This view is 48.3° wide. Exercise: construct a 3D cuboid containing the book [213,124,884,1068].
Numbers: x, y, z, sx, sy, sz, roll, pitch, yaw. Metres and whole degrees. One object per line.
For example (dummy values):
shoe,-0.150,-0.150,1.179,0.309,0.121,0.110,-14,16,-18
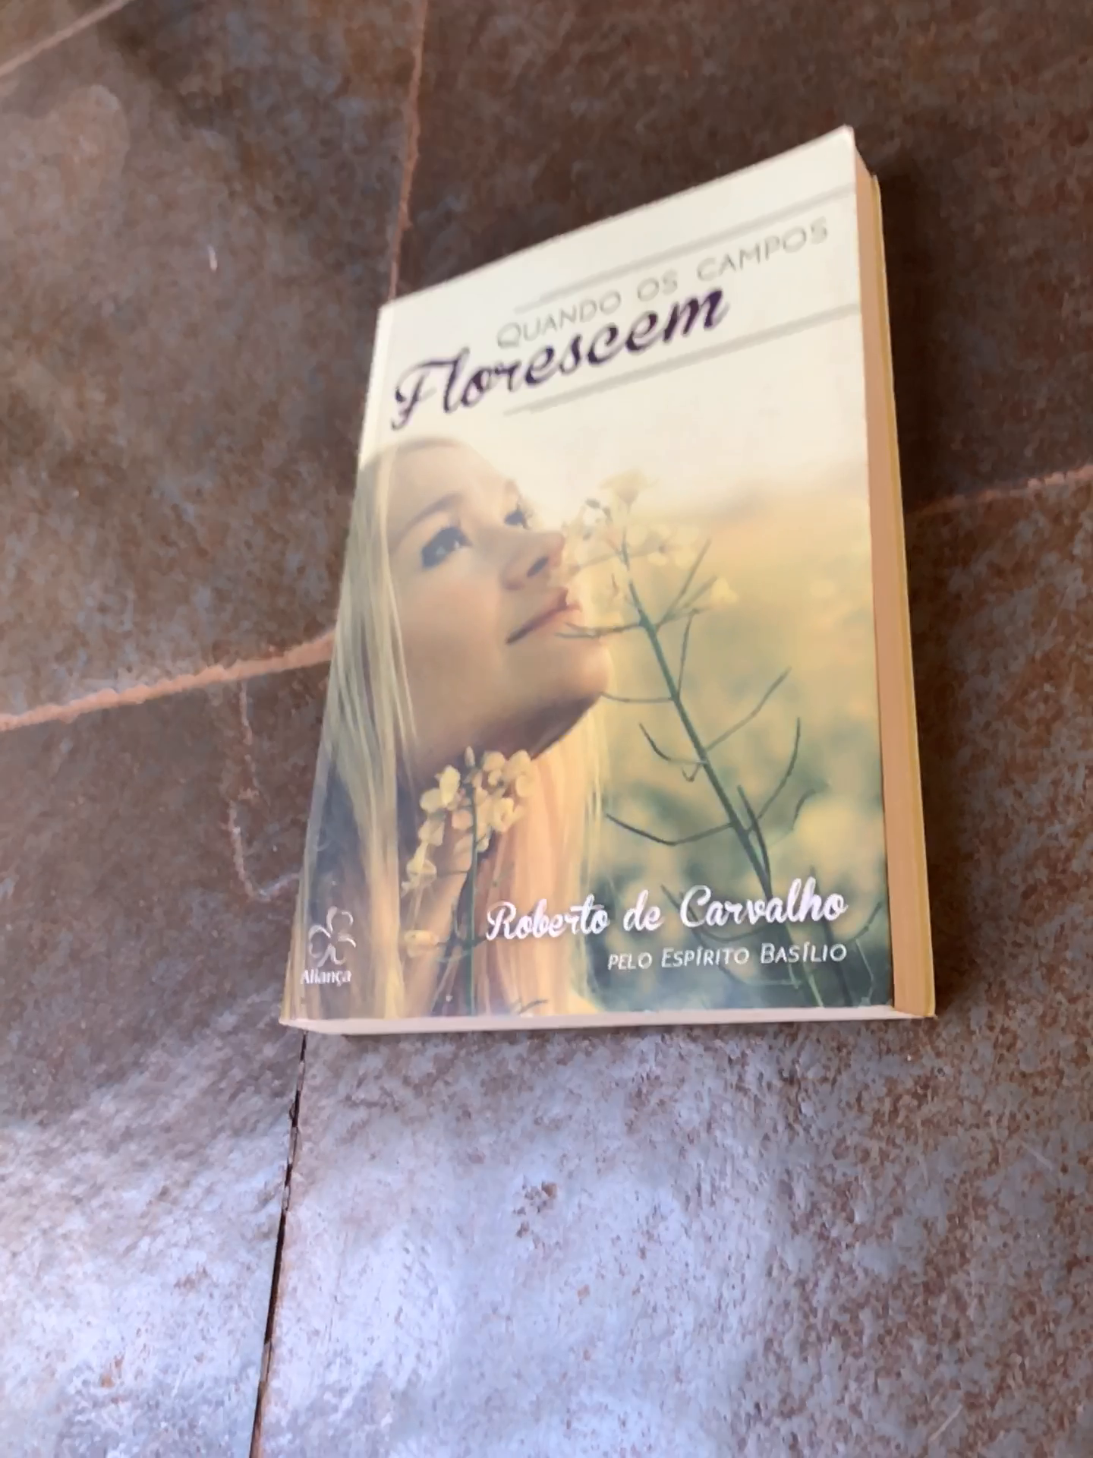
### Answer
book,-0.002,-0.031,0.312,0.161,0.022,0.226,-10,65,30
